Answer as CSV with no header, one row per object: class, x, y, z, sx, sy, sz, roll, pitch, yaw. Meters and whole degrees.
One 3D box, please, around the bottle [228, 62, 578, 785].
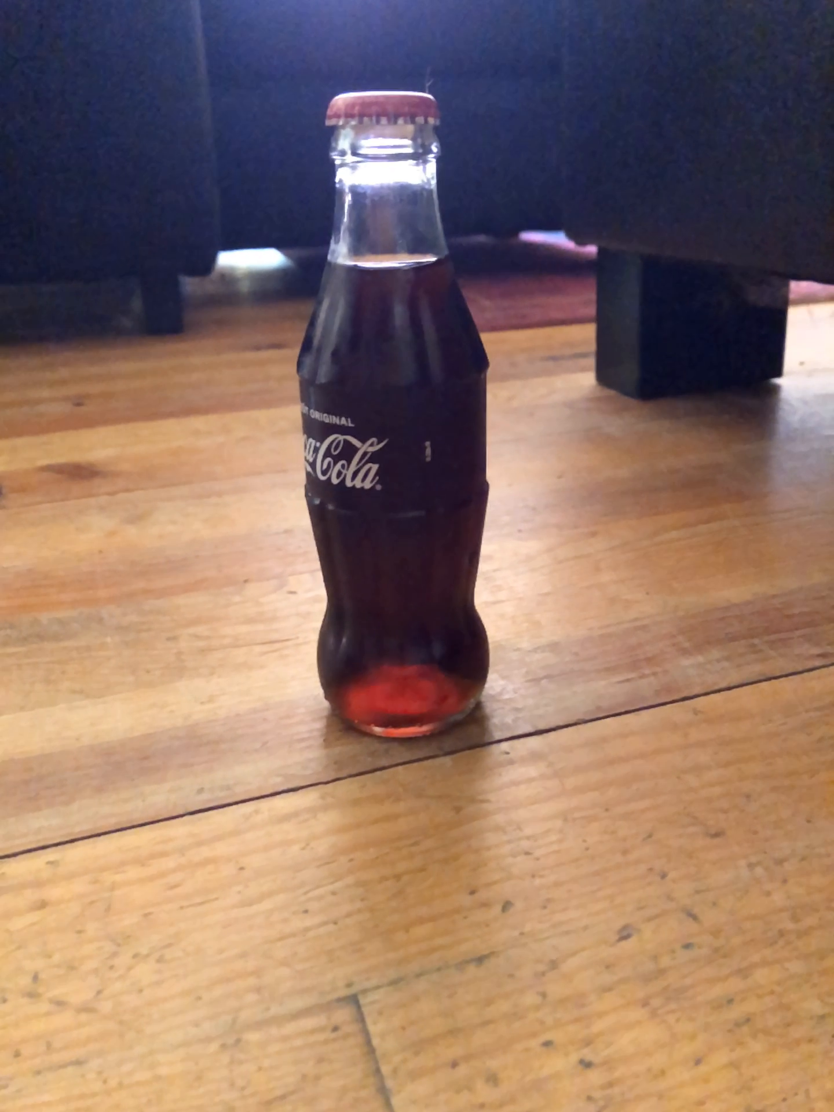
bottle,-0.002,-0.034,0.249,0.060,0.169,0.060,-2,23,1
